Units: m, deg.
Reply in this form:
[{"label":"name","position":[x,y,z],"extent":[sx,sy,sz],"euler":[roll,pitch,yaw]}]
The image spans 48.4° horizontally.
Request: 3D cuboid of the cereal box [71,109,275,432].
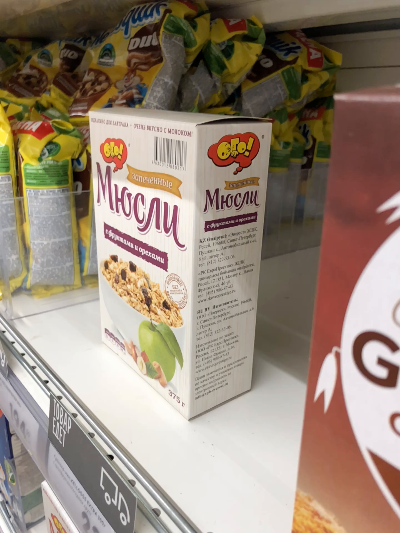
[{"label":"cereal box","position":[-0.028,-0.011,0.335],"extent":[0.070,0.199,0.140],"euler":[-14,25,-36]}]
